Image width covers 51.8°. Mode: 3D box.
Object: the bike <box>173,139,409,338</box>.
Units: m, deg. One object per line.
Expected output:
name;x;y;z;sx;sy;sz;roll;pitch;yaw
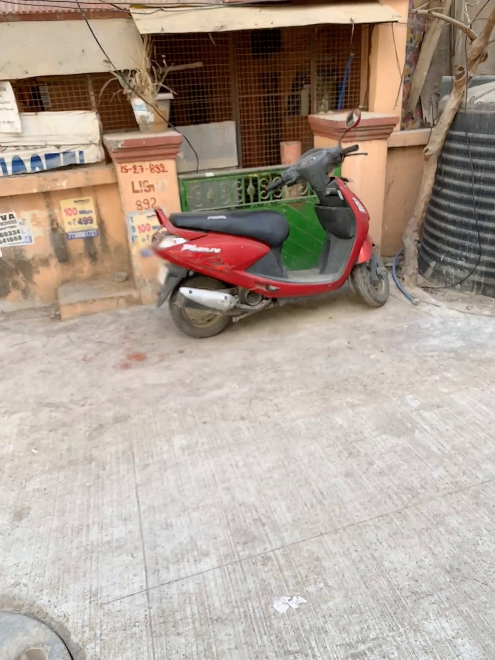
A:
bike;0.277;-0.632;3.202;1.272;0.916;0.620;-14;28;-21
